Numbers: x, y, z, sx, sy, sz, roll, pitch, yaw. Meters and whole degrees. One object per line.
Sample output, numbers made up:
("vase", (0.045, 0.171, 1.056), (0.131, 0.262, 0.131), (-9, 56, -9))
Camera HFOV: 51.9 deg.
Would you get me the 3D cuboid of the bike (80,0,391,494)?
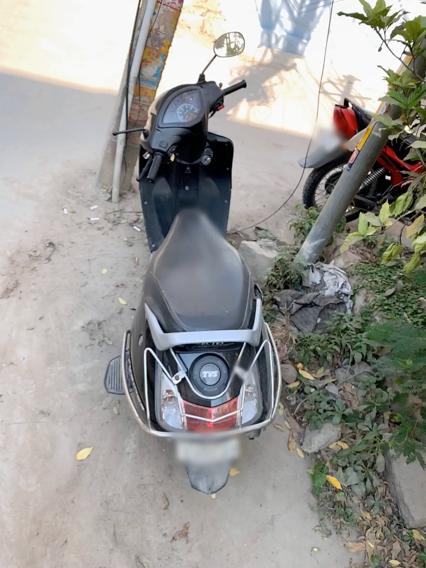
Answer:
("bike", (-0.142, -0.291, 1.828), (0.618, 0.944, 1.823), (6, 45, -18))
